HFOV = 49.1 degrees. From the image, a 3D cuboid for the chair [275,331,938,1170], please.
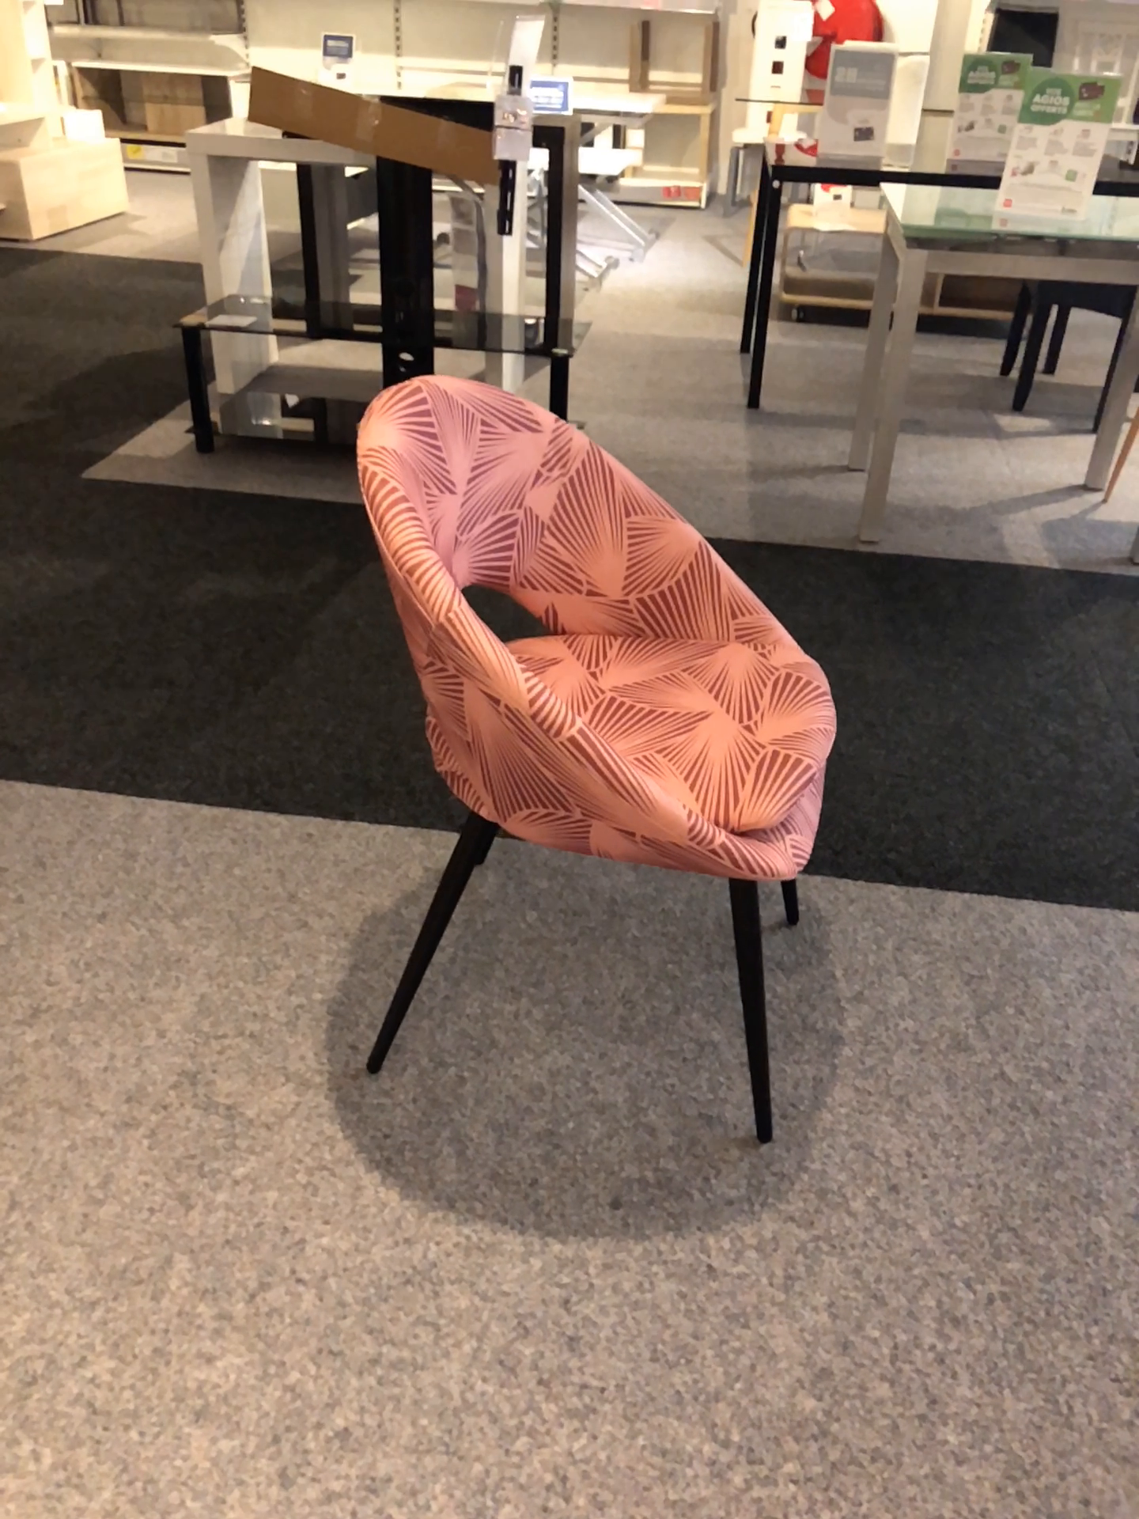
[{"bbox_3d":[0.061,-0.032,1.537,0.599,0.795,0.534,8,32,9],"label":"chair"}]
